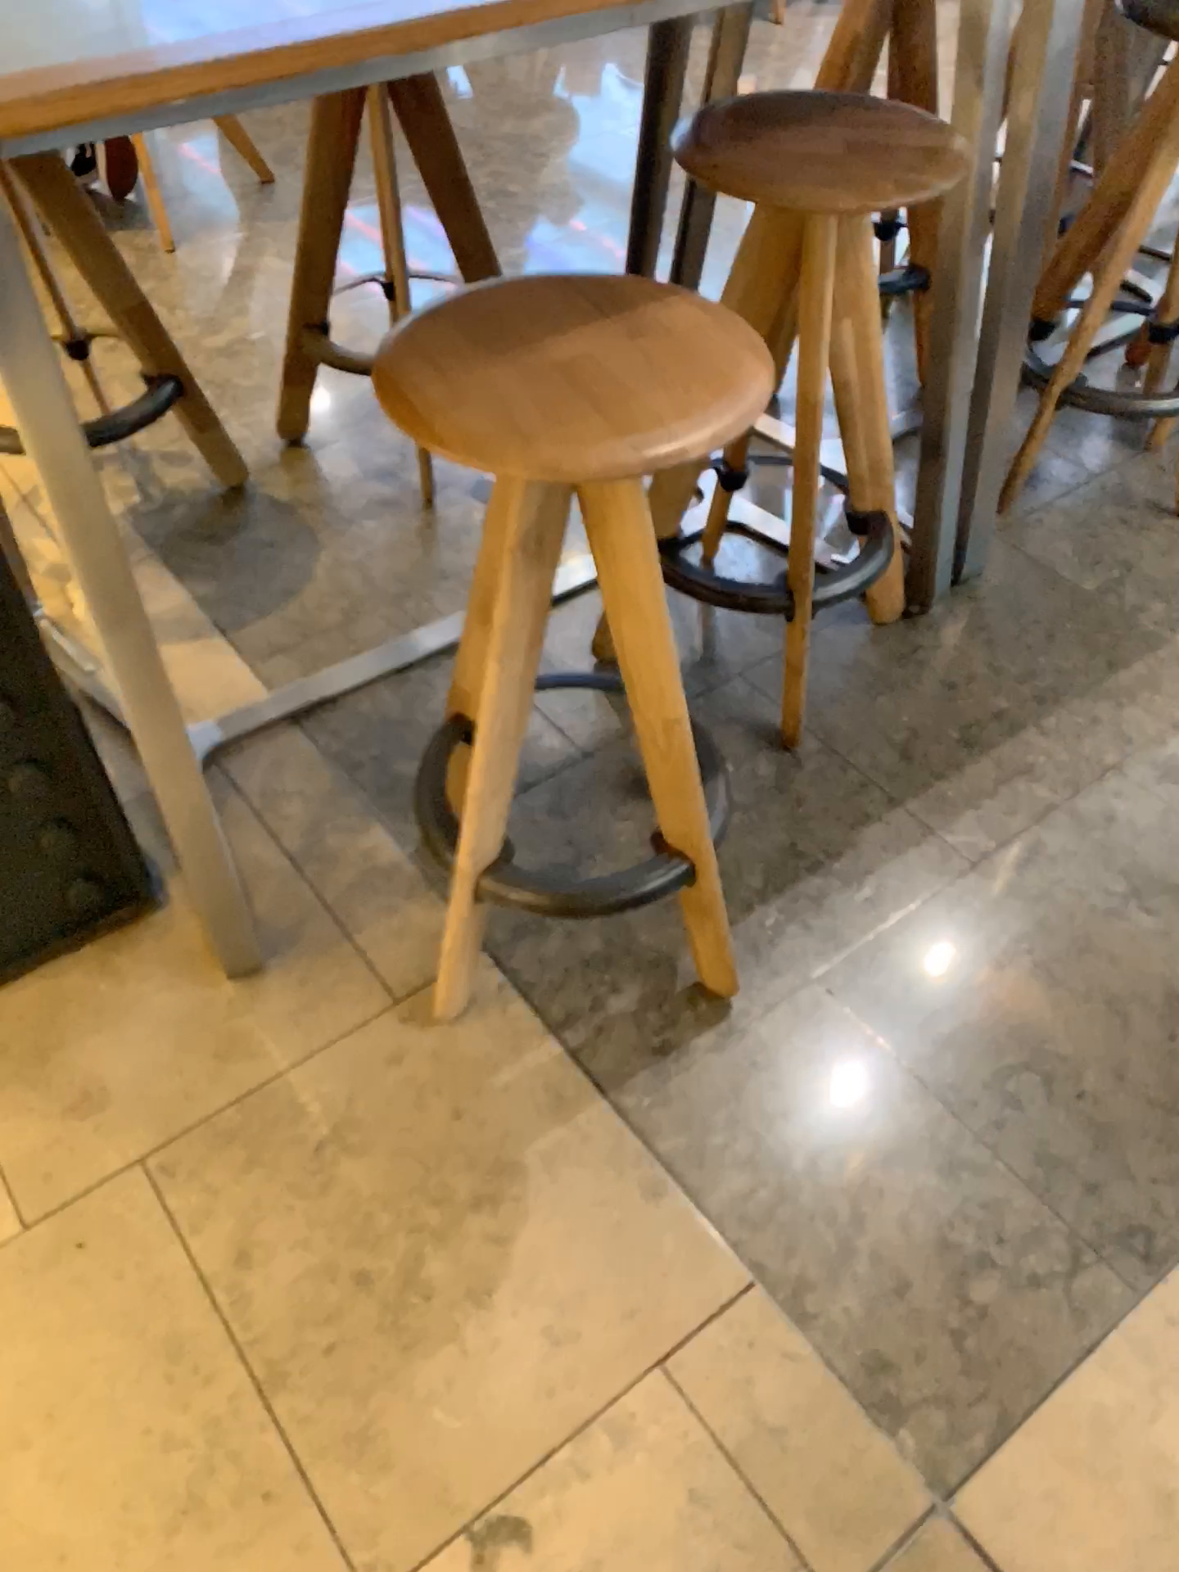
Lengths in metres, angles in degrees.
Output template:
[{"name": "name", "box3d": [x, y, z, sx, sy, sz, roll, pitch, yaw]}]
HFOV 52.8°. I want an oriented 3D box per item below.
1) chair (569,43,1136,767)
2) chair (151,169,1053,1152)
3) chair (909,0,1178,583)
[{"name": "chair", "box3d": [0.286, -0.492, 1.585, 0.464, 0.706, 0.425, -29, 54, -24]}, {"name": "chair", "box3d": [-0.007, -0.132, 1.262, 0.534, 0.706, 0.556, -29, 54, -24]}, {"name": "chair", "box3d": [0.899, -0.799, 1.864, 0.474, 0.706, 0.435, -29, 54, -24]}]
